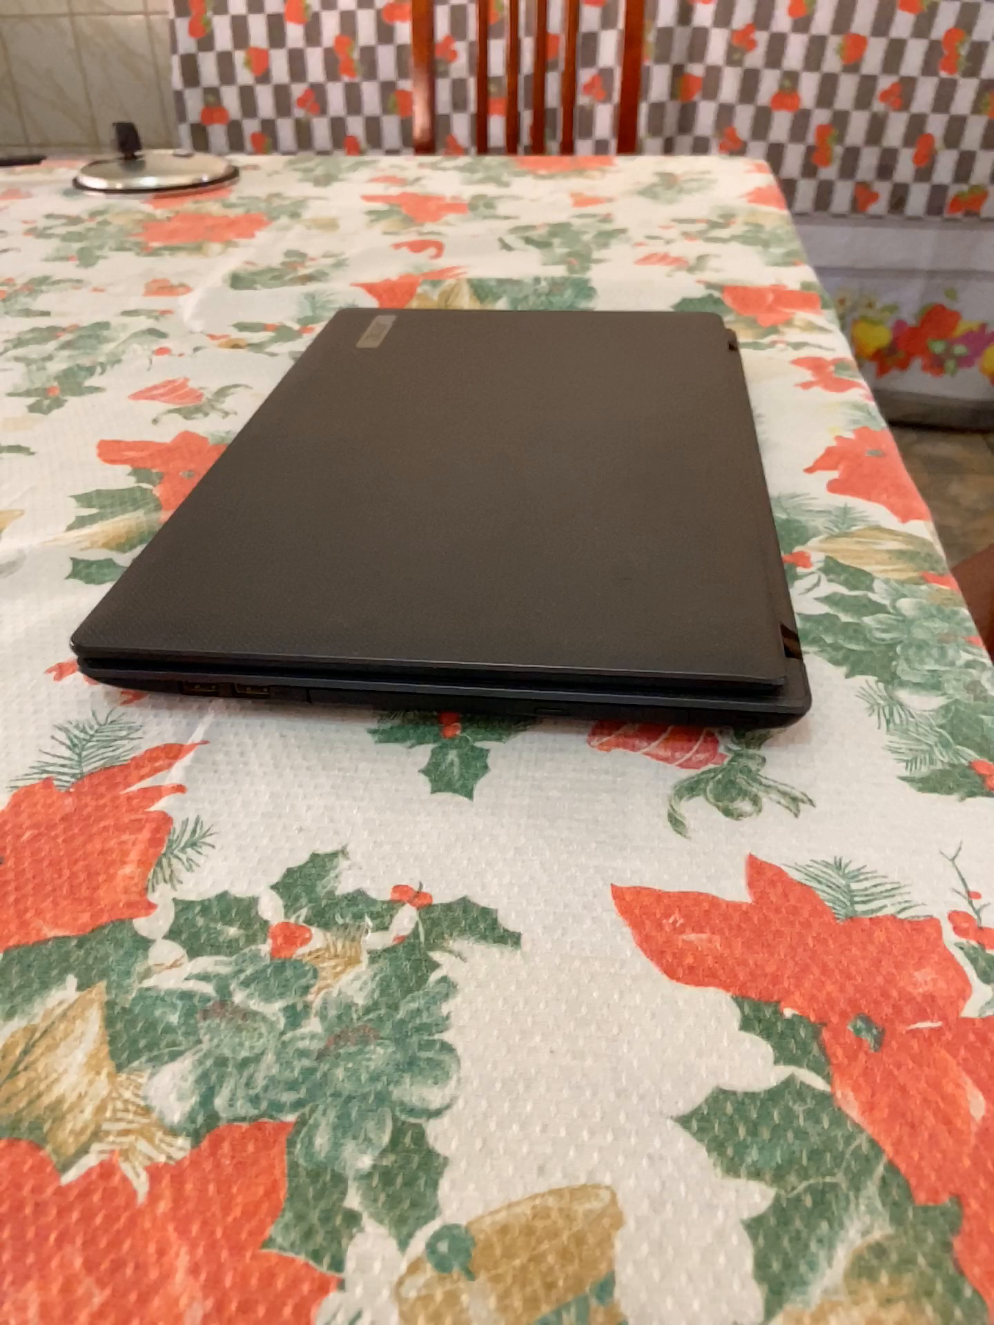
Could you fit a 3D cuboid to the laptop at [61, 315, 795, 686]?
[{"bbox_3d":[-0.002,-0.099,0.451,0.223,0.001,0.352,4,35,6],"label":"laptop"}]
